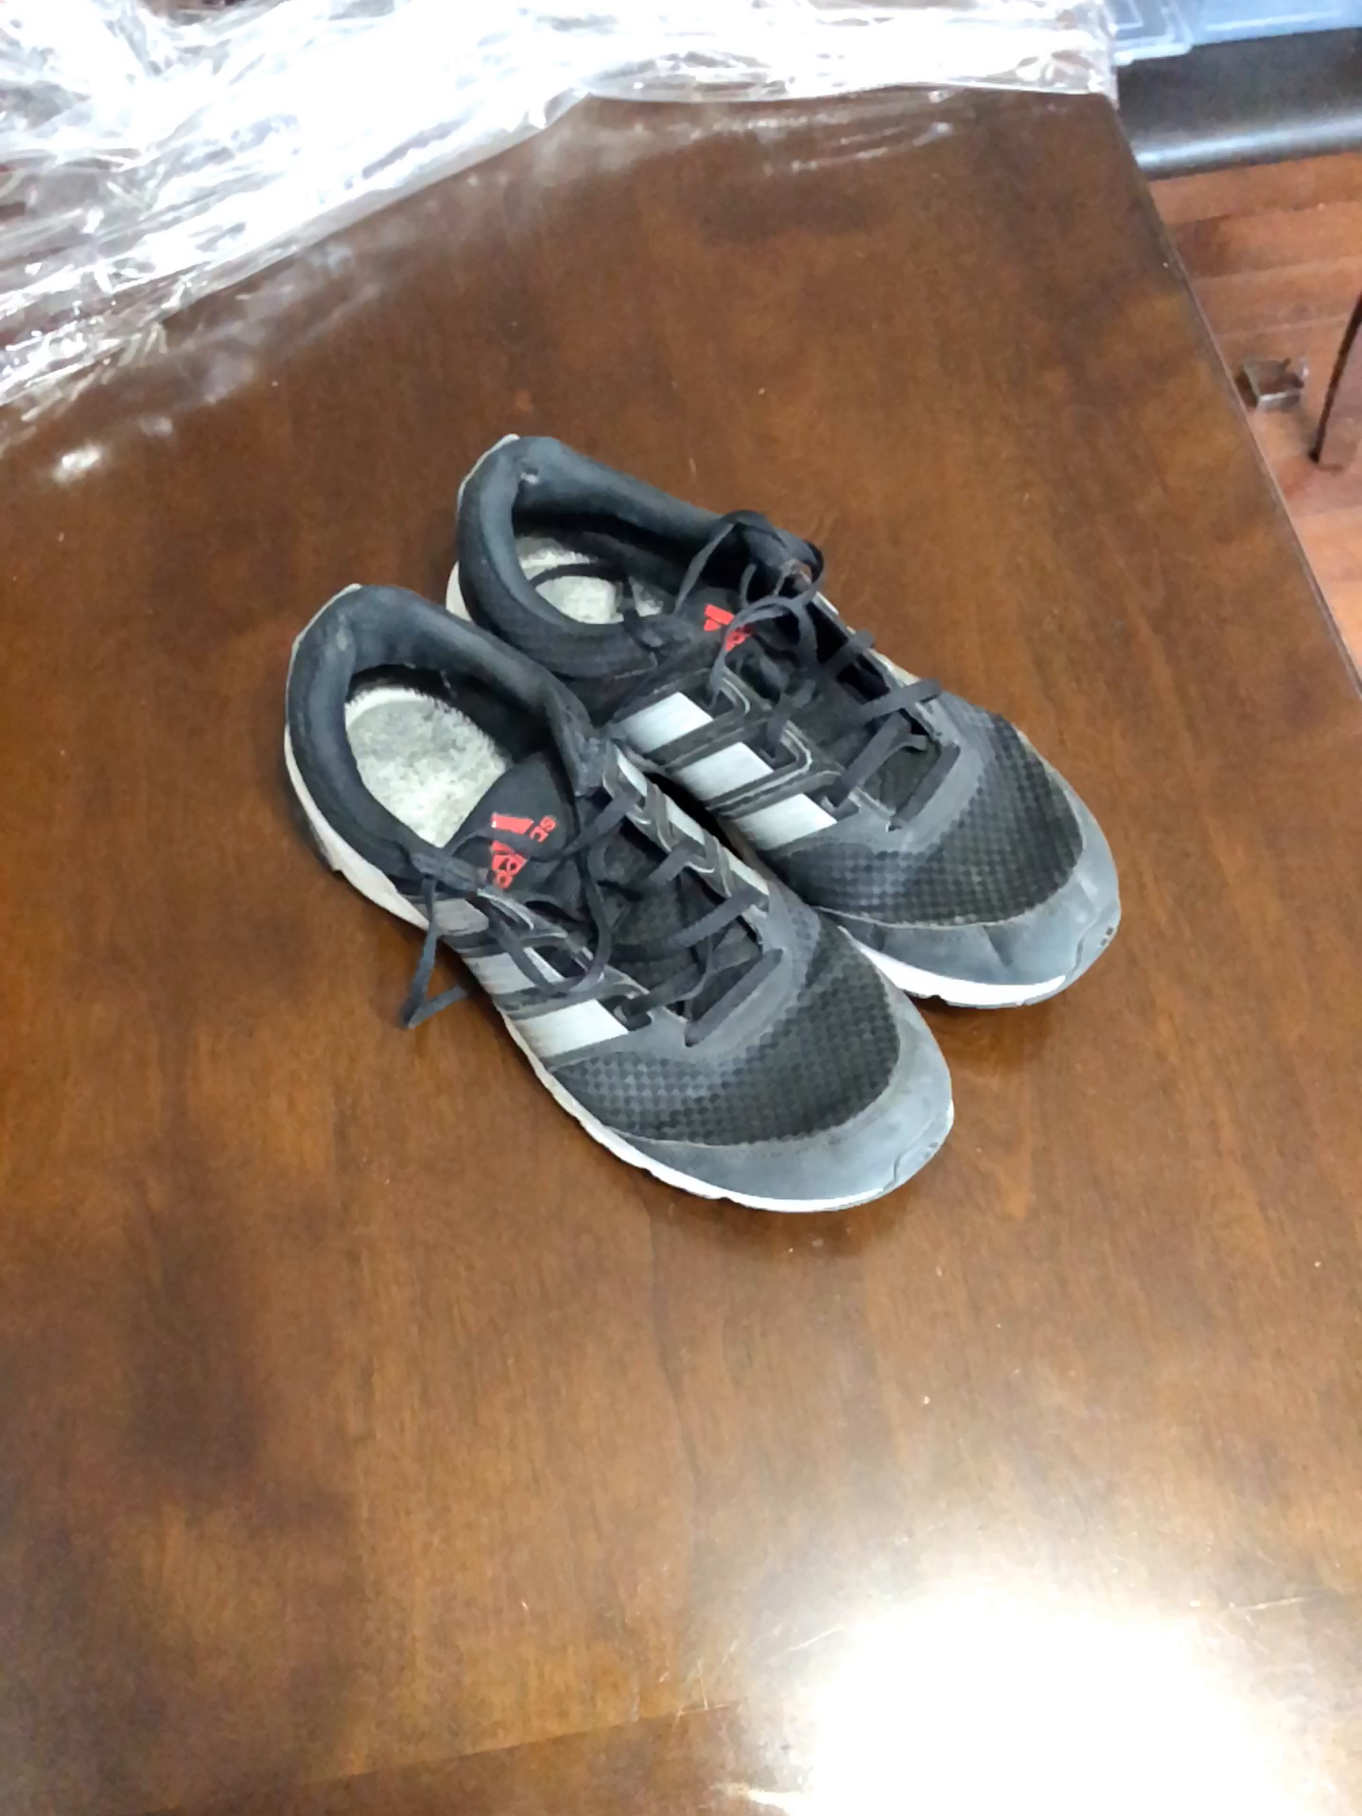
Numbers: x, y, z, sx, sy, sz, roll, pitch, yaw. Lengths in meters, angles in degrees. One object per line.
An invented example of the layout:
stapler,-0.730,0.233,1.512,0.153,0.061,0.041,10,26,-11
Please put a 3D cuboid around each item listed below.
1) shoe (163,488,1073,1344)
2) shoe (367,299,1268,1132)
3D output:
shoe,-0.027,0.000,0.541,0.290,0.120,0.120,39,70,18
shoe,0.039,-0.073,0.561,0.290,0.130,0.120,39,70,18
